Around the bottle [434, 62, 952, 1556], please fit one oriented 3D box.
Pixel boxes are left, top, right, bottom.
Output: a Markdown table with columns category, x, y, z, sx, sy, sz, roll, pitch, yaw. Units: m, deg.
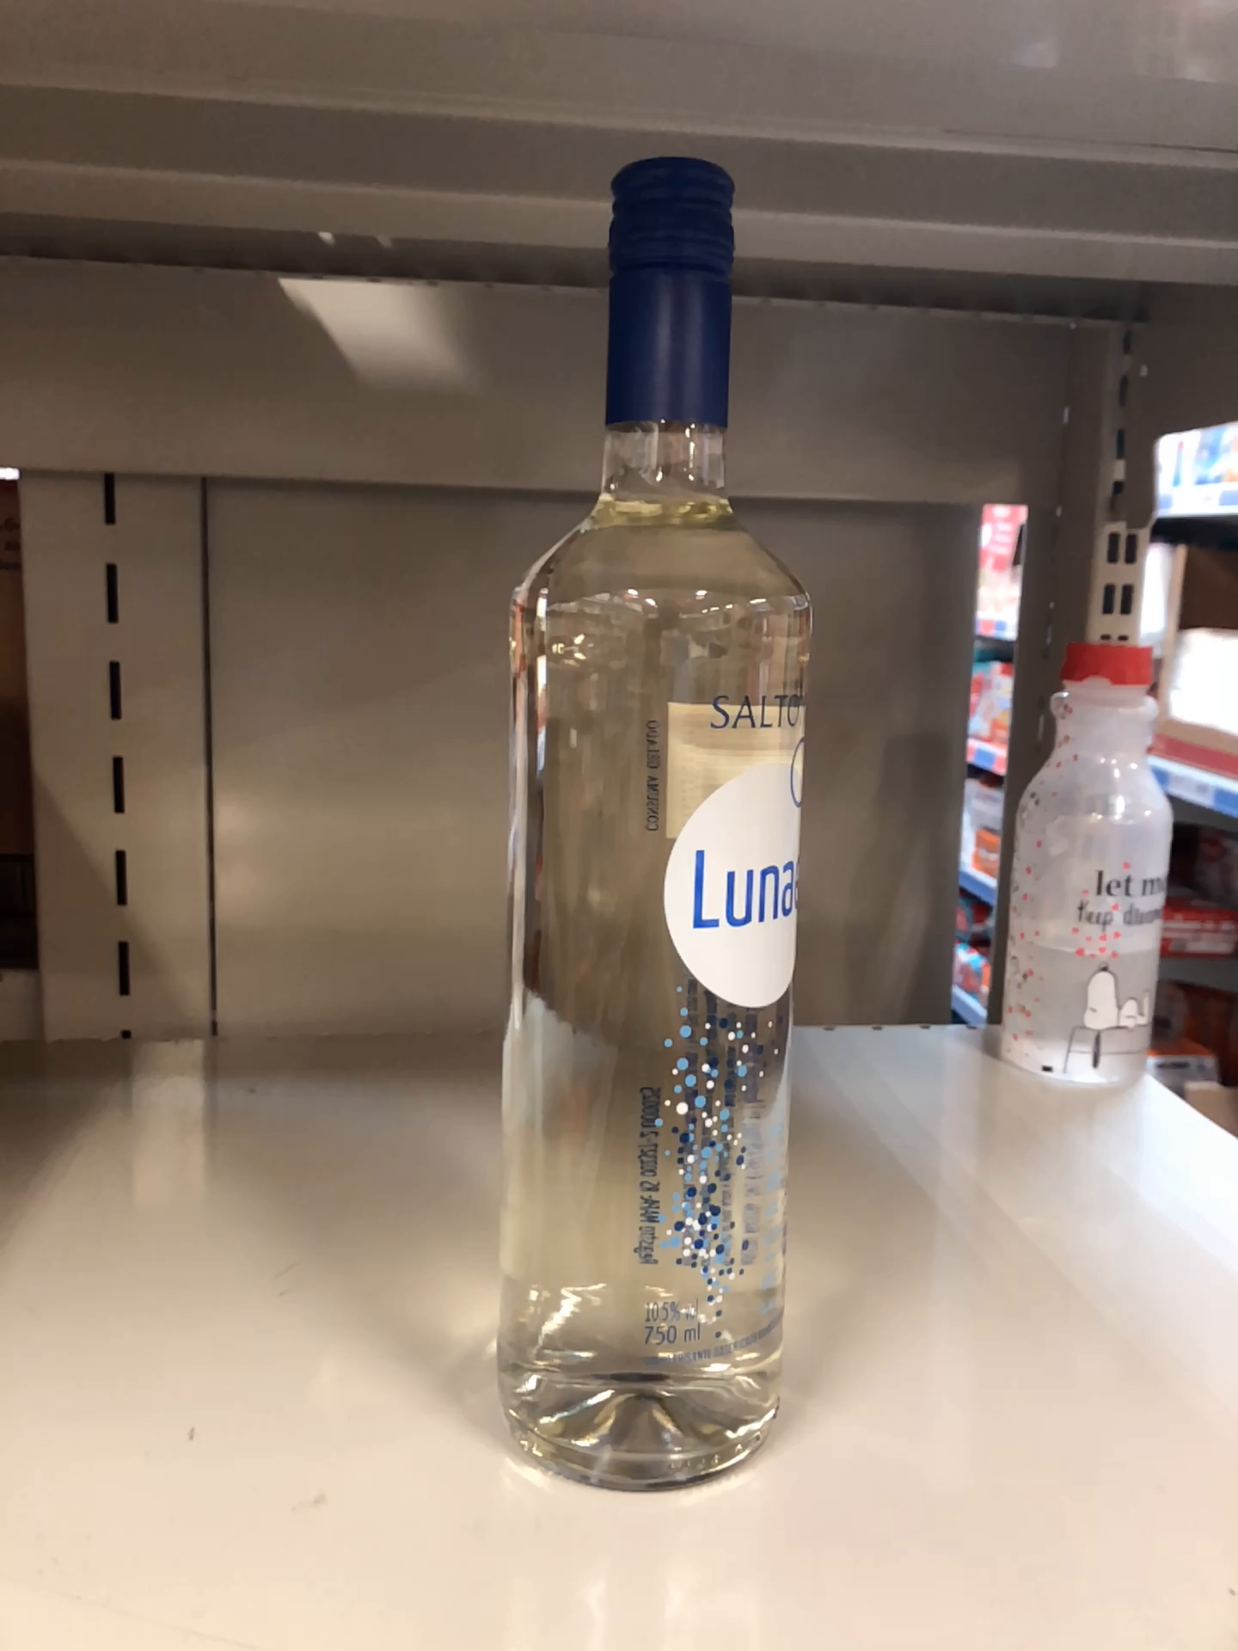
| category | x | y | z | sx | sy | sz | roll | pitch | yaw |
| --- | --- | --- | --- | --- | --- | --- | --- | --- | --- |
| bottle | 0.013 | 0.001 | 0.335 | 0.080 | 0.309 | 0.080 | 2 | 11 | 0 |
